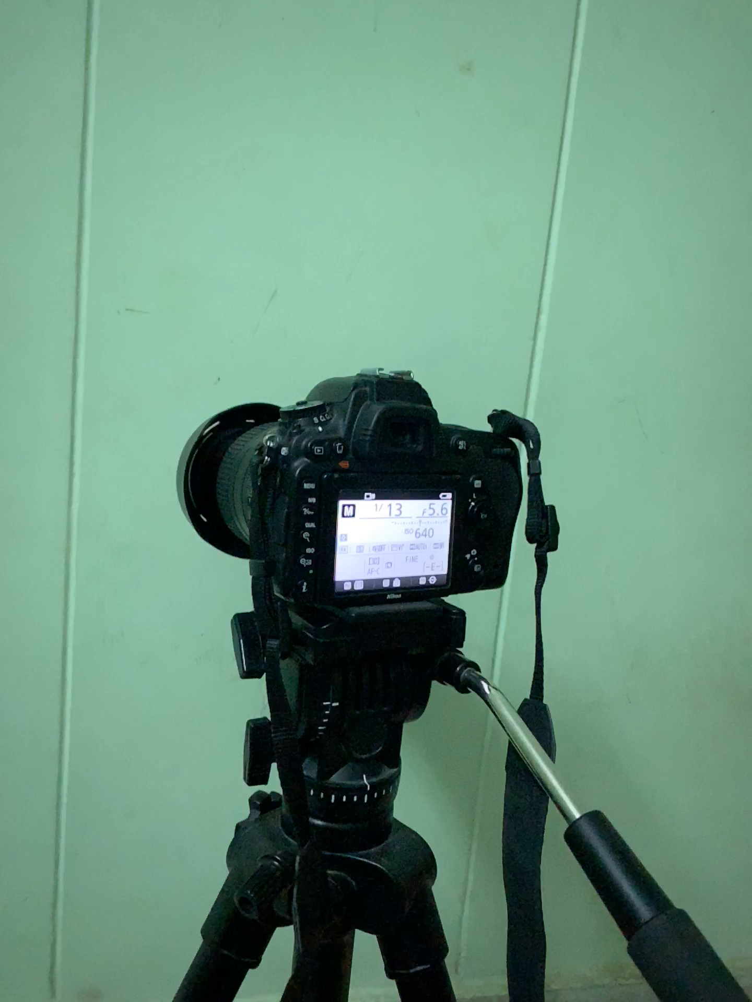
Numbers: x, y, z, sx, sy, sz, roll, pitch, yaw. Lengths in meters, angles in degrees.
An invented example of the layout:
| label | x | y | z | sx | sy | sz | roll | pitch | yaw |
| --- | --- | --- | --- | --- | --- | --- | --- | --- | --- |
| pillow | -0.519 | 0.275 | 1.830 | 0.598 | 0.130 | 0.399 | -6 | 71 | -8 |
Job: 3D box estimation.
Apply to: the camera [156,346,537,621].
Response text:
| label | x | y | z | sx | sy | sz | roll | pitch | yaw |
| --- | --- | --- | --- | --- | --- | --- | --- | --- | --- |
| camera | -0.029 | -0.022 | 0.449 | 0.140 | 0.117 | 0.182 | 0 | 11 | -32 |
